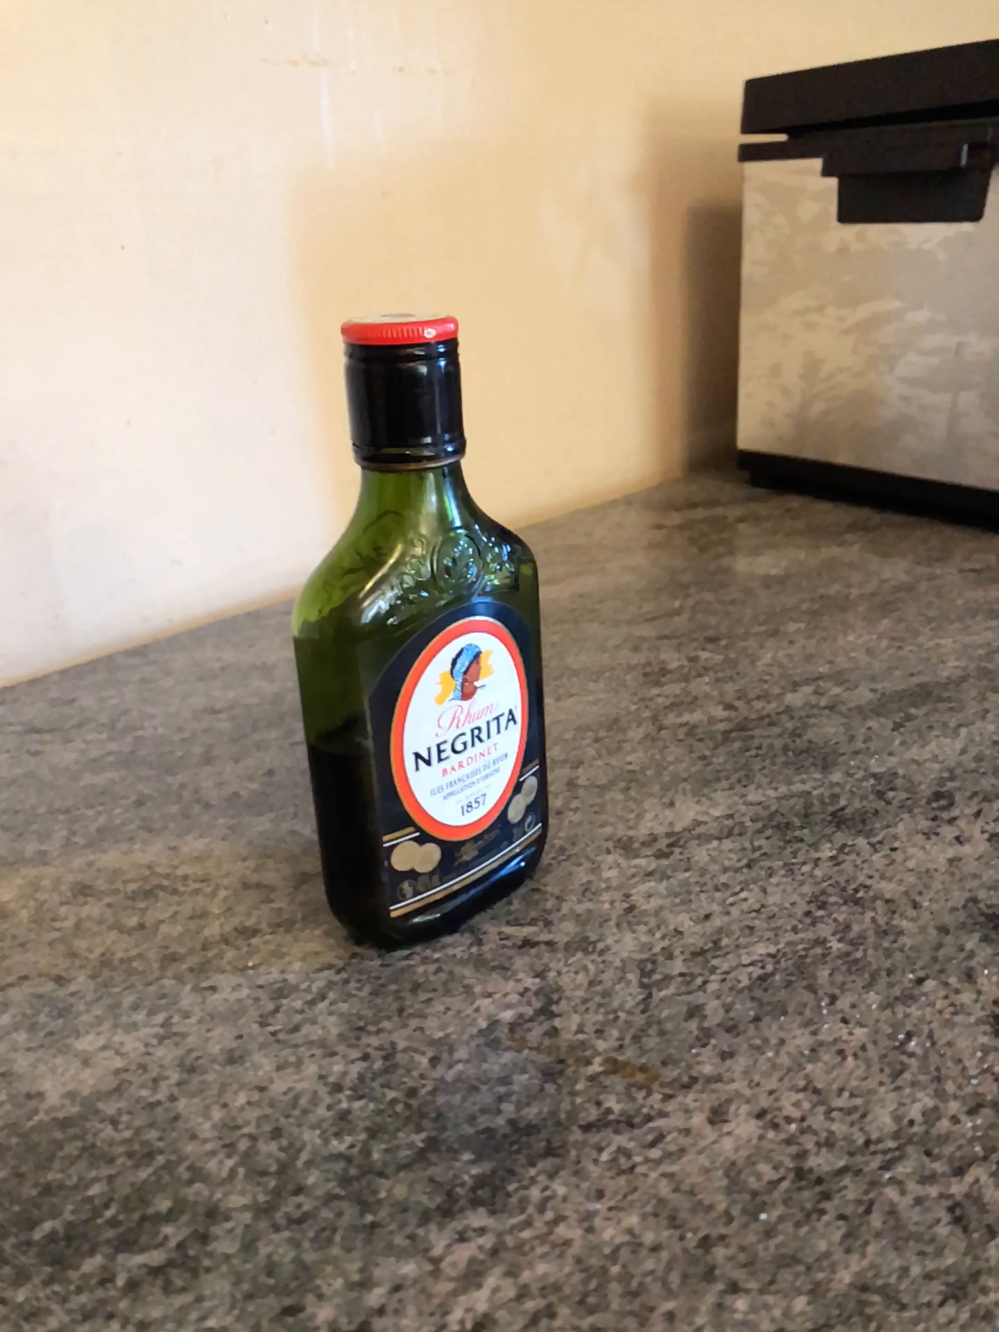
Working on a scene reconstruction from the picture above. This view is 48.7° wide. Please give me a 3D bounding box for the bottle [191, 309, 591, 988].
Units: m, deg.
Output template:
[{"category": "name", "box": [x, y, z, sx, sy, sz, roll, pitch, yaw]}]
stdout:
[{"category": "bottle", "box": [-0.023, -0.009, 0.298, 0.080, 0.159, 0.050, -22, 28, -40]}]
